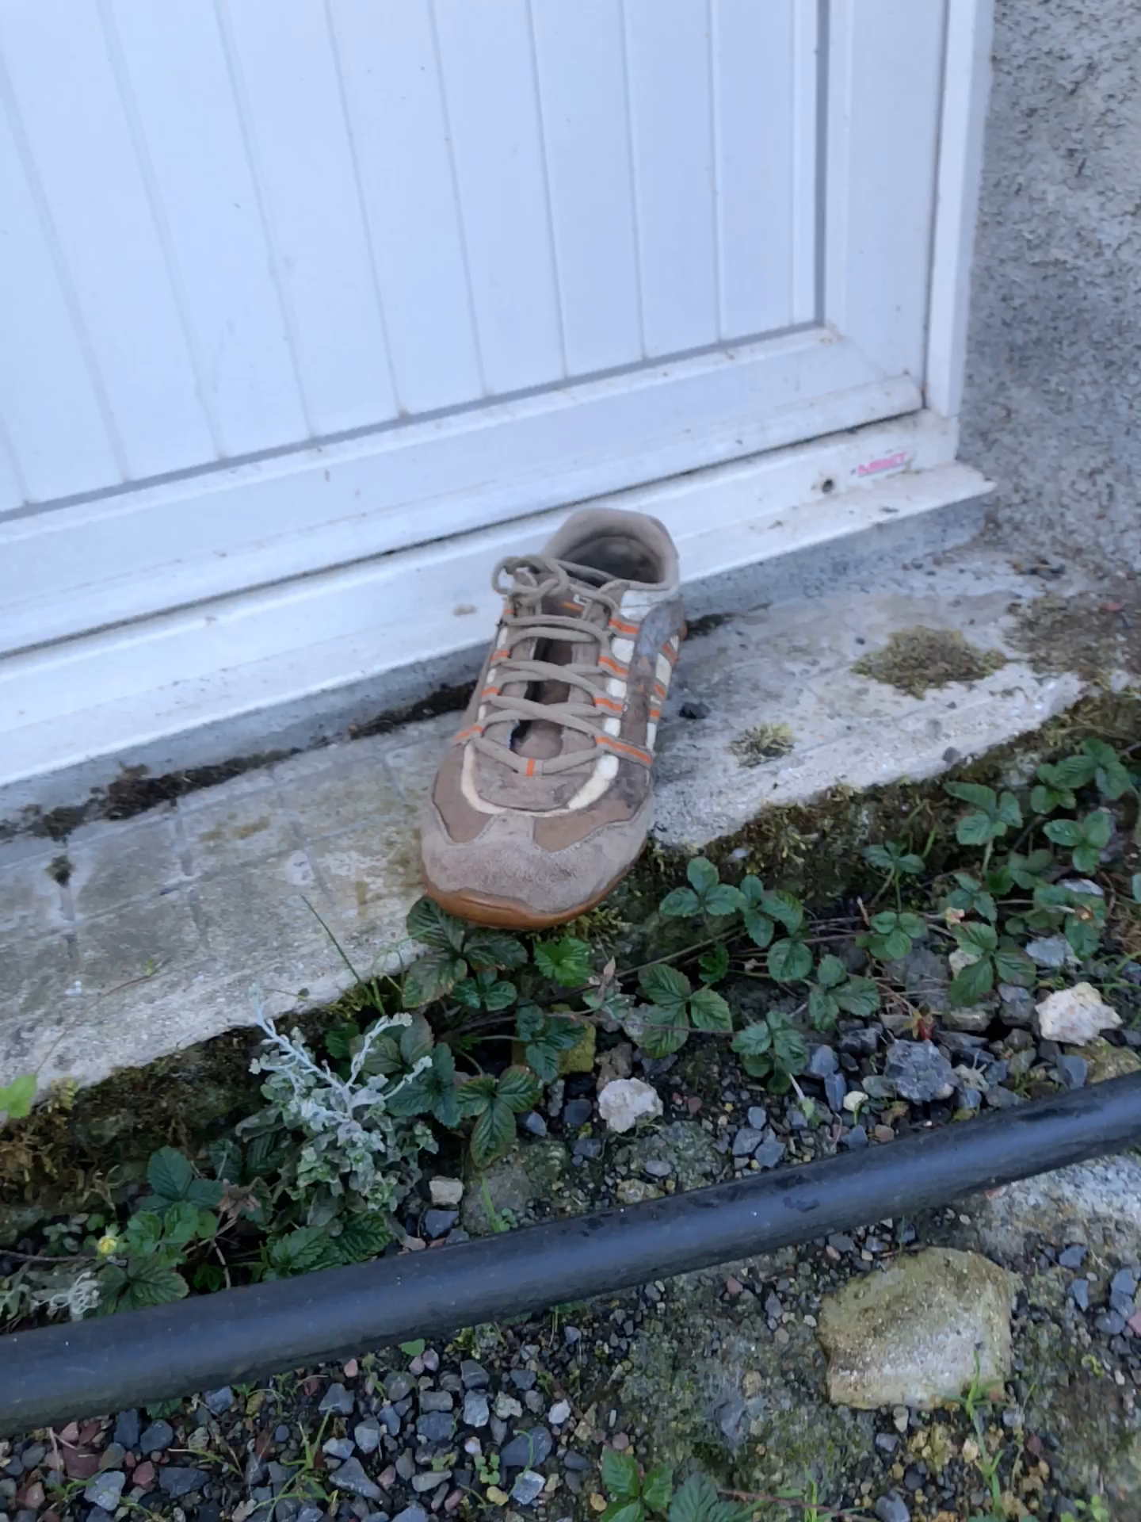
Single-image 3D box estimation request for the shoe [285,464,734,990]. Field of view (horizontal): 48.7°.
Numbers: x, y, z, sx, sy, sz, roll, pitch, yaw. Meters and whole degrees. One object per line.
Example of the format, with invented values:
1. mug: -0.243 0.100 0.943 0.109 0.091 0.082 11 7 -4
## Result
1. shoe: -0.007 -0.035 0.577 0.110 0.099 0.272 5 36 17
